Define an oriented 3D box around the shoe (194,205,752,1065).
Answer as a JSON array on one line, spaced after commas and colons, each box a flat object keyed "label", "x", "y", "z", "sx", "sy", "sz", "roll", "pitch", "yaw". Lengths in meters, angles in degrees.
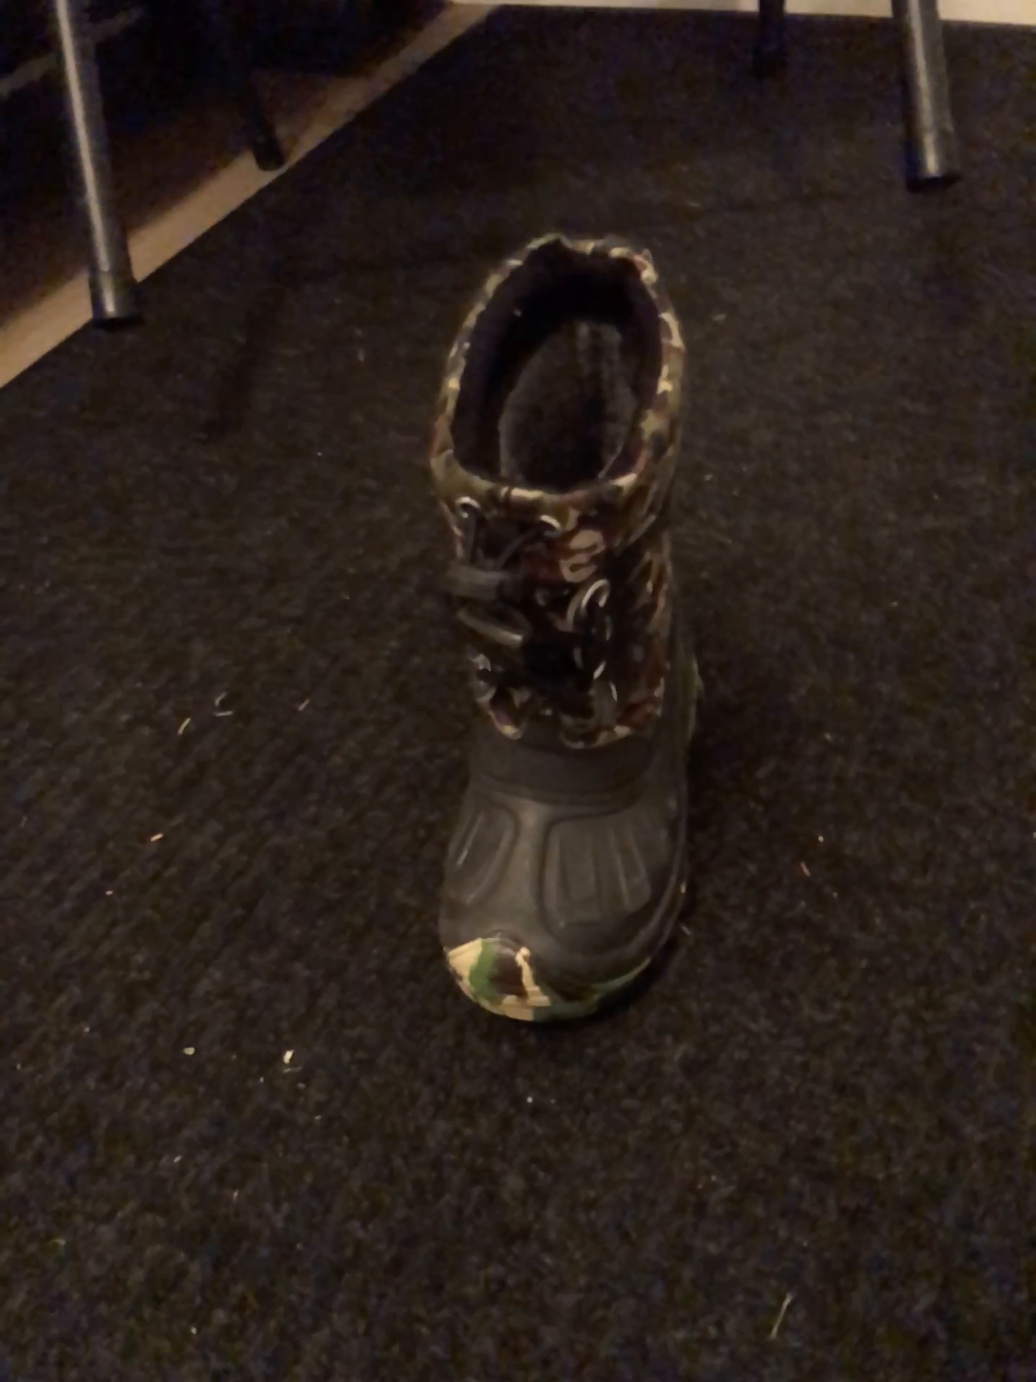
[{"label": "shoe", "x": 0.013, "y": -0.020, "z": 0.399, "sx": 0.100, "sy": 0.209, "sz": 0.201, "roll": 8, "pitch": 50, "yaw": 18}]
